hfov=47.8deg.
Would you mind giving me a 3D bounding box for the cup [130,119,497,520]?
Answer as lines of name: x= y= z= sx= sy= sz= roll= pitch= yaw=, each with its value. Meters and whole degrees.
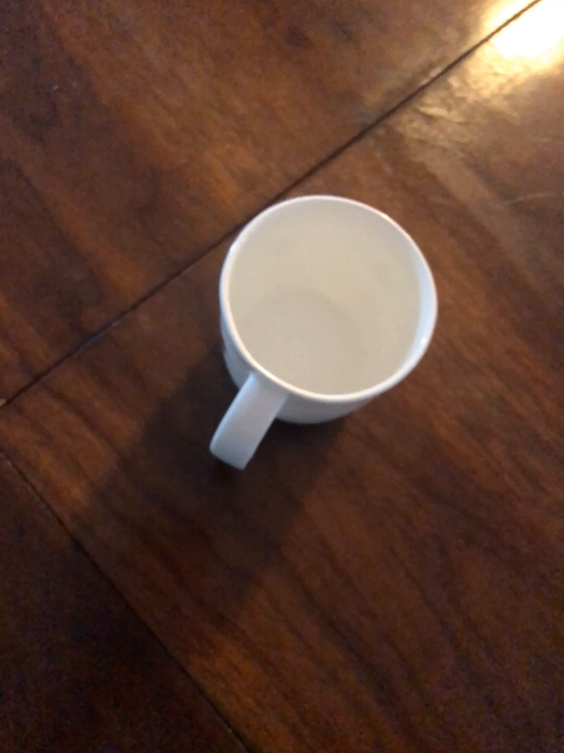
cup: x=0.011 y=-0.017 z=0.284 sx=0.090 sy=0.090 sz=0.130 roll=29 pitch=75 yaw=1
